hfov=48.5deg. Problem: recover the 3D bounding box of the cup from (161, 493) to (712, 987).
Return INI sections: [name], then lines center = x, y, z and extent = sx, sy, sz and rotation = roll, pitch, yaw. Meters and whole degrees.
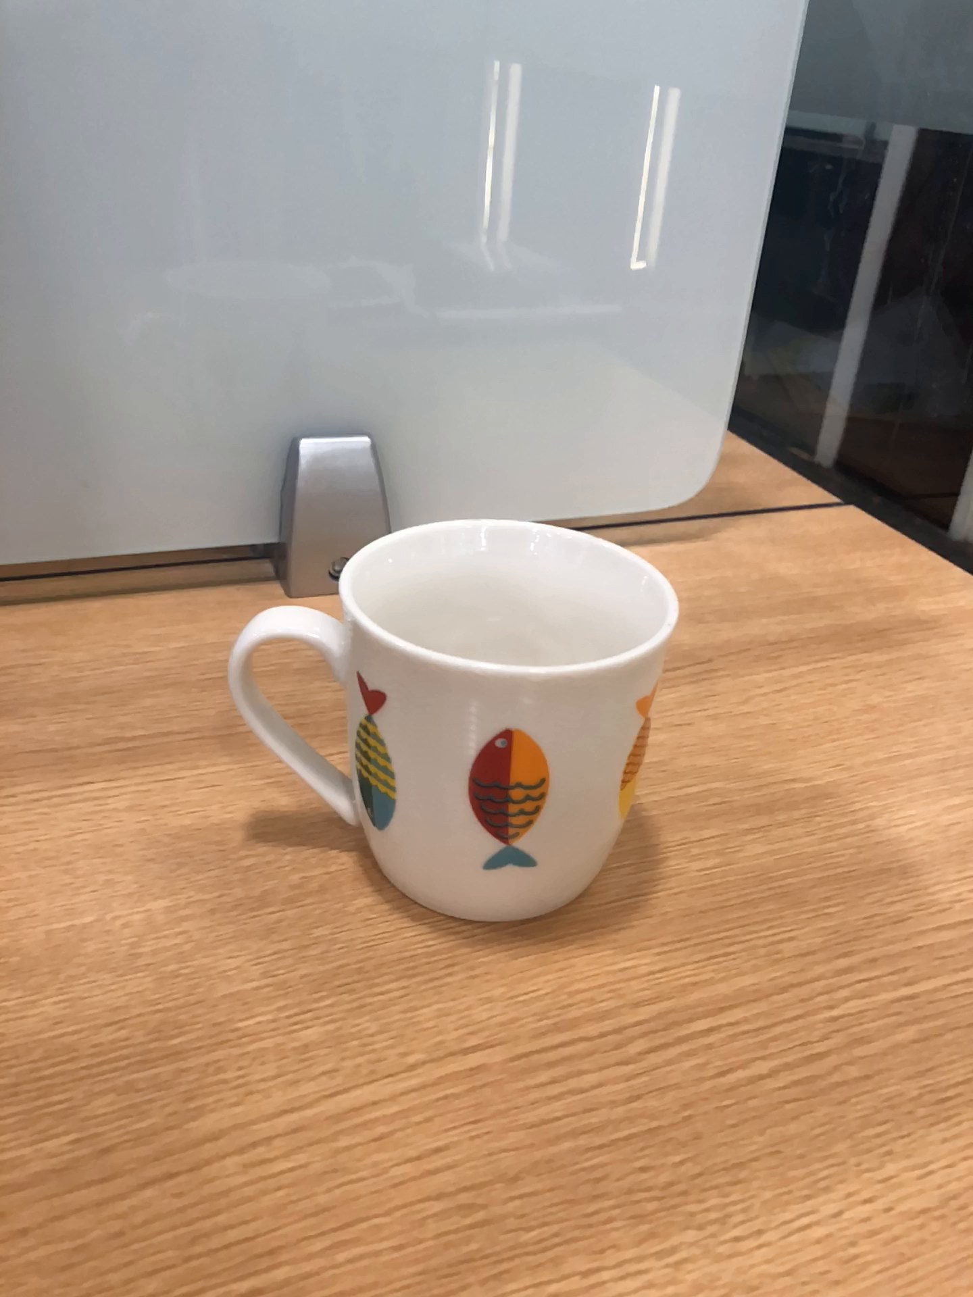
[cup]
center = -0.014, 0.021, 0.272
extent = 0.110, 0.090, 0.080
rotation = 3, 29, -4
